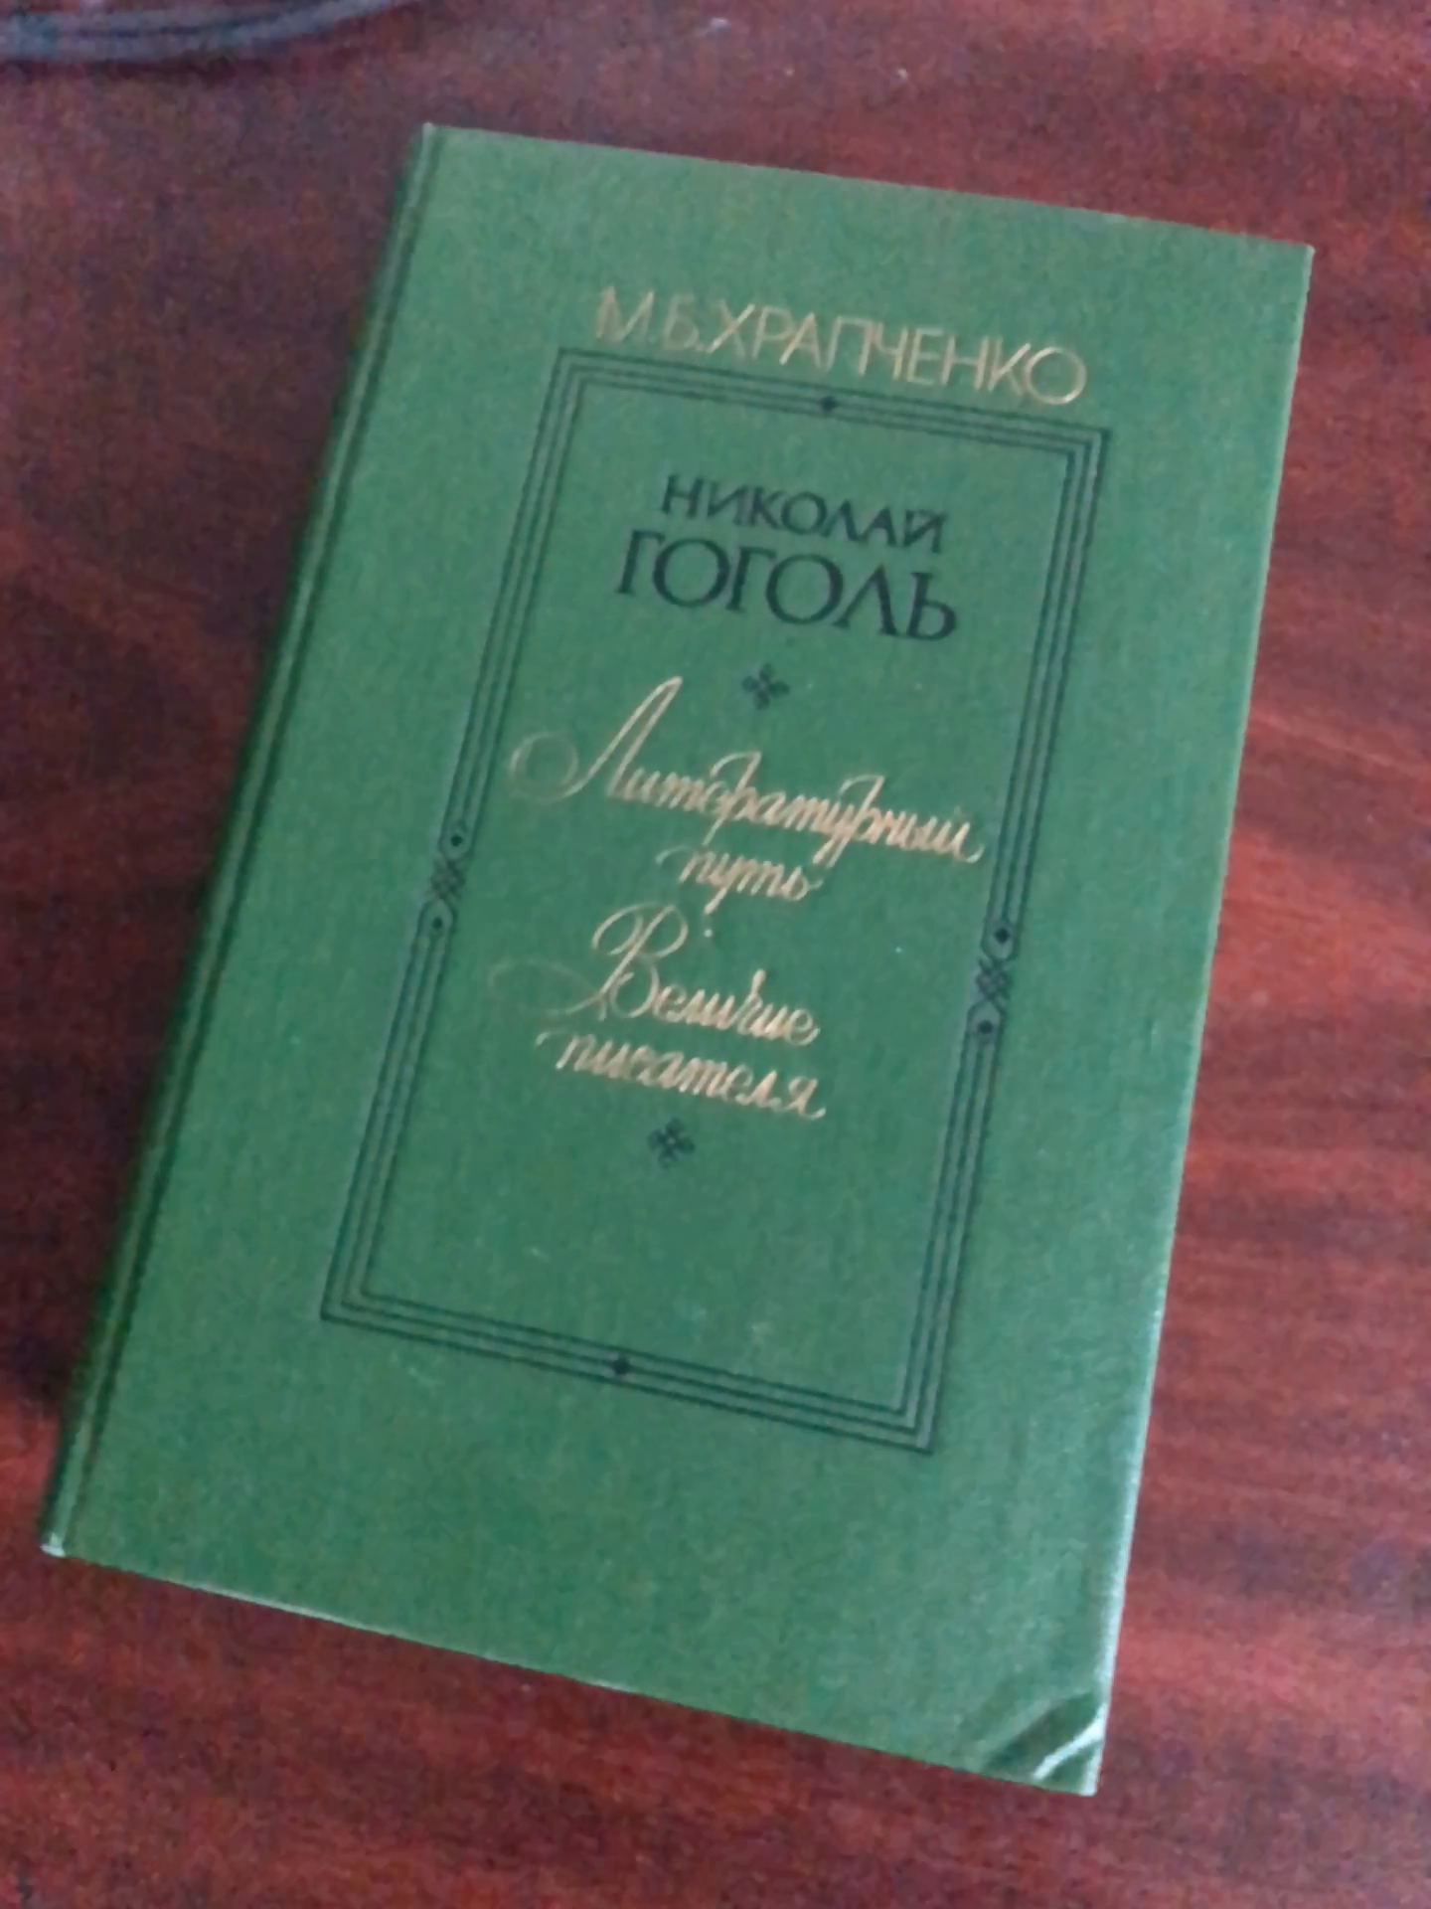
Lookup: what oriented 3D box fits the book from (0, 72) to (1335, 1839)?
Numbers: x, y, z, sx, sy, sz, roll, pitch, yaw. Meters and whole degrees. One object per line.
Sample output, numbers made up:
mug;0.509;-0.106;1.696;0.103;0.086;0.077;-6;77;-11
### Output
book;0.001;-0.010;0.225;0.129;0.050;0.206;10;78;6
